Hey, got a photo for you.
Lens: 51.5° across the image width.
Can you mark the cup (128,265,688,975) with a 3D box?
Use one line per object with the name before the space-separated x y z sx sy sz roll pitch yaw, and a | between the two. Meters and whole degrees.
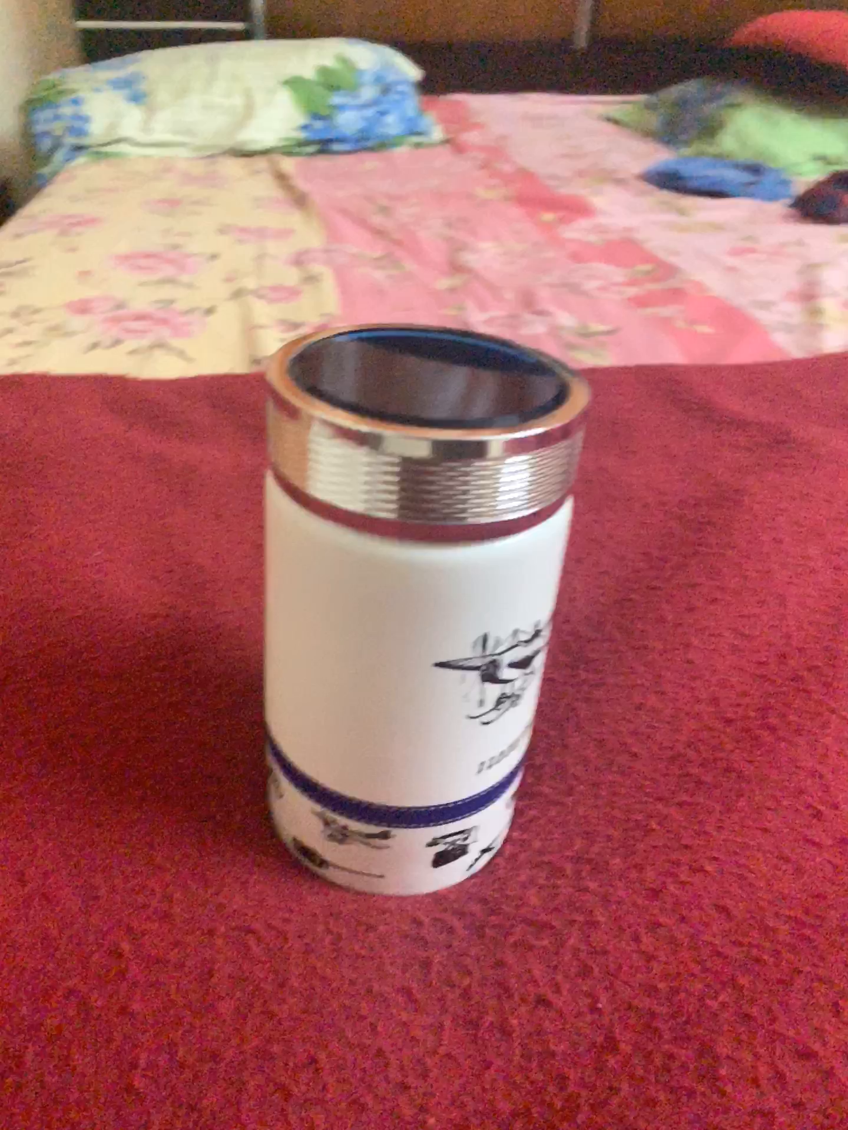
cup | 0.000 0.005 0.250 0.090 0.139 0.121 19 34 21
